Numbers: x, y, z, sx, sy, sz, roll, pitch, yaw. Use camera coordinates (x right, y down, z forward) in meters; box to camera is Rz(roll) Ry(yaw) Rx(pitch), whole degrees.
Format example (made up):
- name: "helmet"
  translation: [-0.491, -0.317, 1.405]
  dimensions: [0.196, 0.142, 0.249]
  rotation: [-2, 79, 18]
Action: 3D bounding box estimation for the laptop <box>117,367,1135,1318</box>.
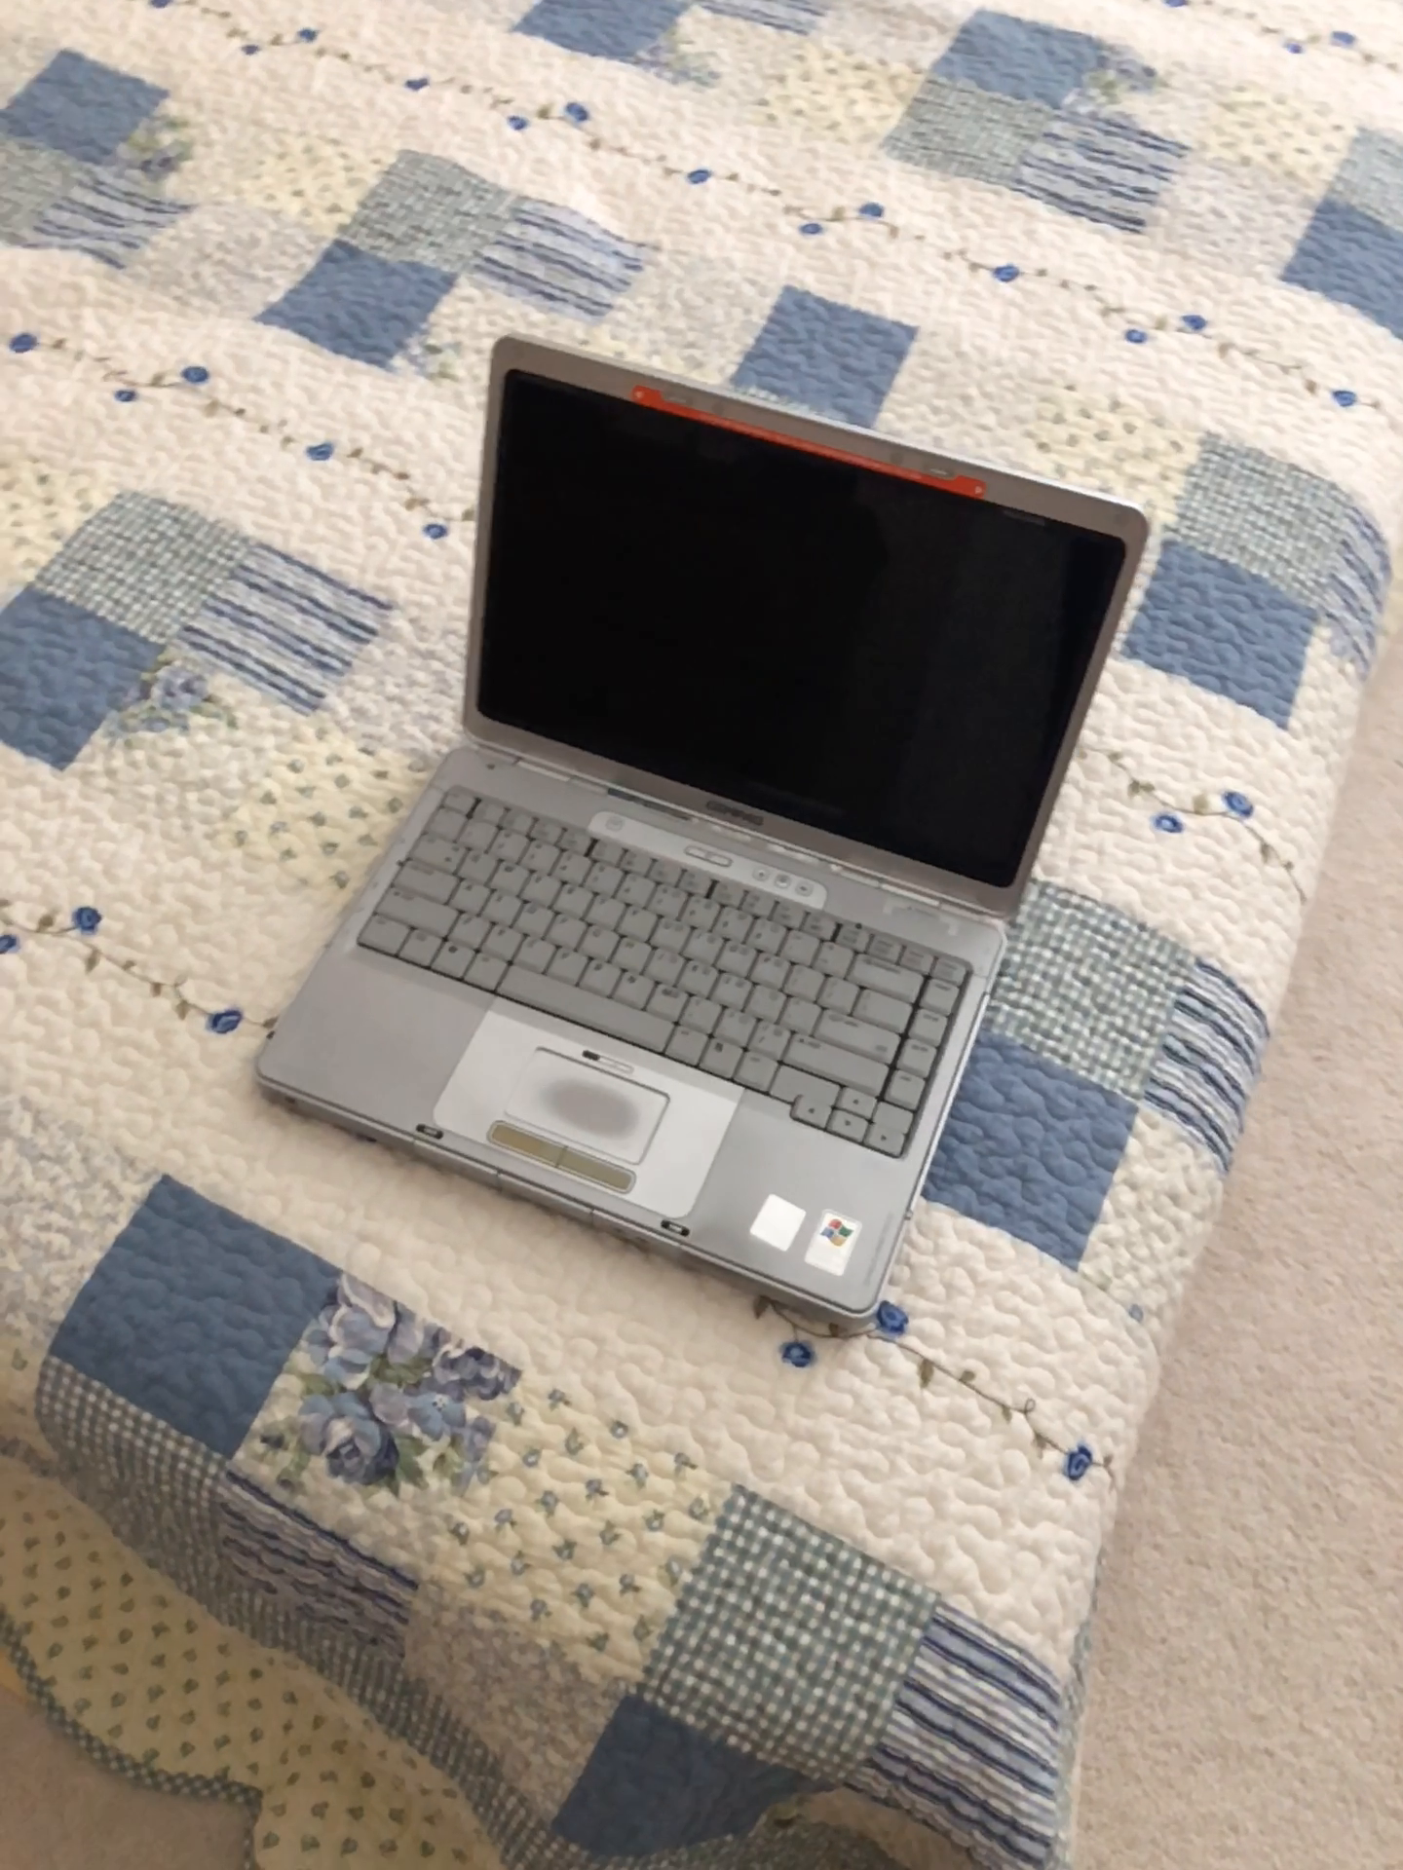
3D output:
- name: "laptop"
  translation: [-0.014, -0.053, 0.733]
  dimensions: [0.322, 0.193, 0.327]
  rotation: [19, 60, 11]
